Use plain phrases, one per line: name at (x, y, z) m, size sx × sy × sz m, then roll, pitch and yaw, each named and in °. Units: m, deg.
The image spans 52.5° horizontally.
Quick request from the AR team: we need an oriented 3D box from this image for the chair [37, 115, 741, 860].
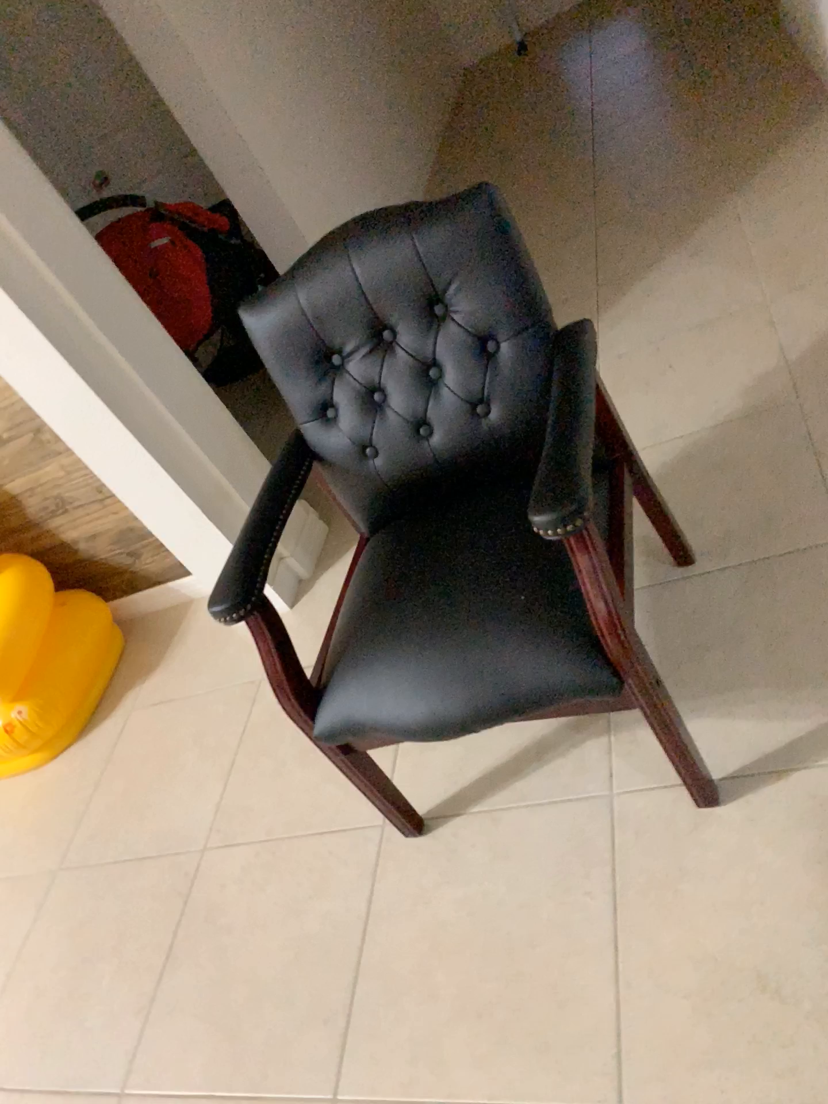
chair at (0.062, -0.039, 1.413) m, size 0.632 × 0.908 × 0.659 m, roll -16°, pitch 38°, yaw 26°
